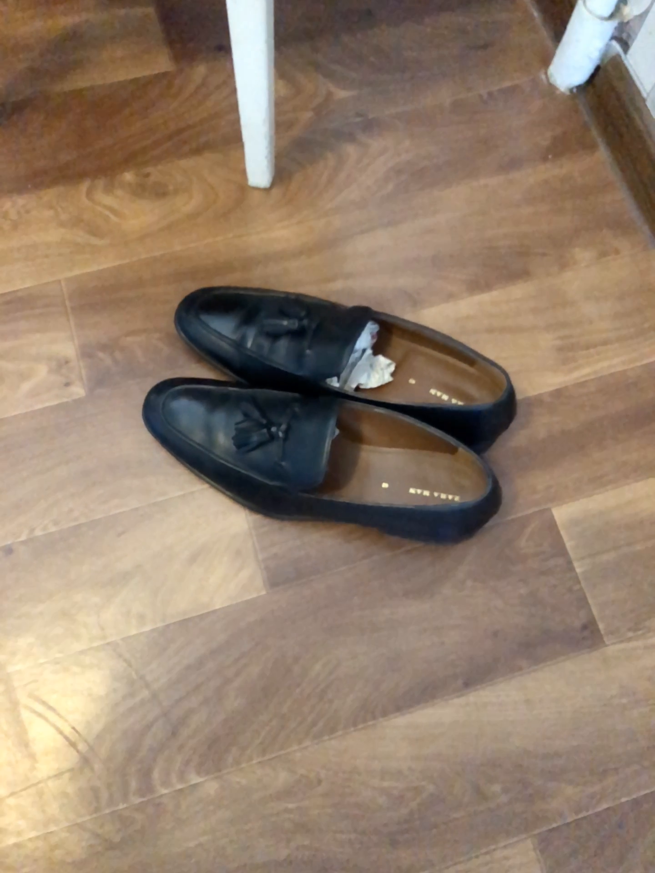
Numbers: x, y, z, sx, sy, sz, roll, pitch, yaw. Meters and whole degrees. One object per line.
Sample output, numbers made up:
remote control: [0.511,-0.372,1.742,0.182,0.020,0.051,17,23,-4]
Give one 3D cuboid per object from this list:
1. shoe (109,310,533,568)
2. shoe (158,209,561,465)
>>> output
shoe: [-0.003,0.004,0.493,0.253,0.068,0.100,15,73,3]
shoe: [0.023,-0.069,0.518,0.253,0.068,0.100,16,73,4]
